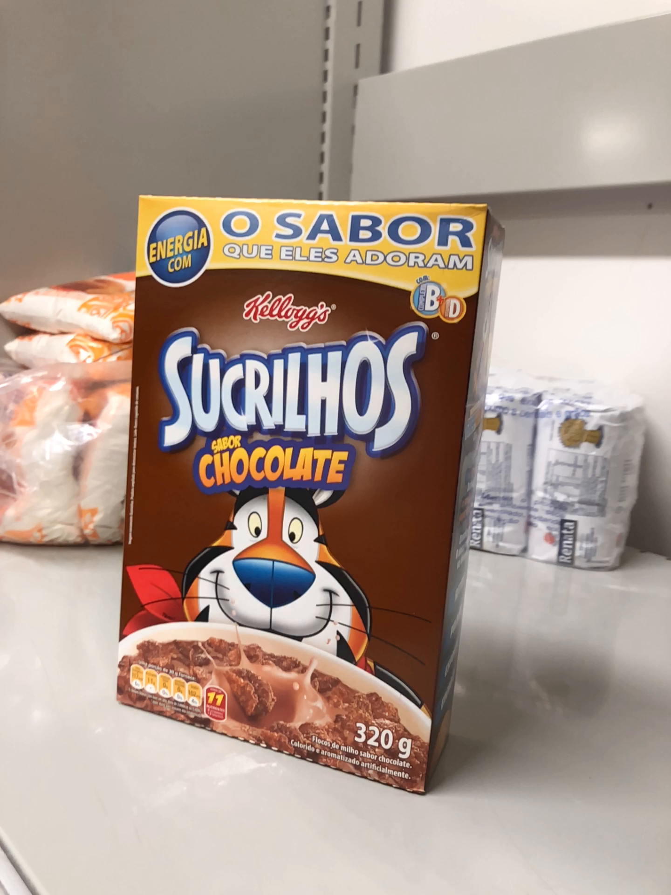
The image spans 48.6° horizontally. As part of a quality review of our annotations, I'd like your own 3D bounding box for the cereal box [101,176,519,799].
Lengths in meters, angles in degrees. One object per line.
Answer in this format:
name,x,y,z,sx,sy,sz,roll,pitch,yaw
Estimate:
cereal box,-0.017,0.010,0.379,0.180,0.269,0.070,8,9,19
